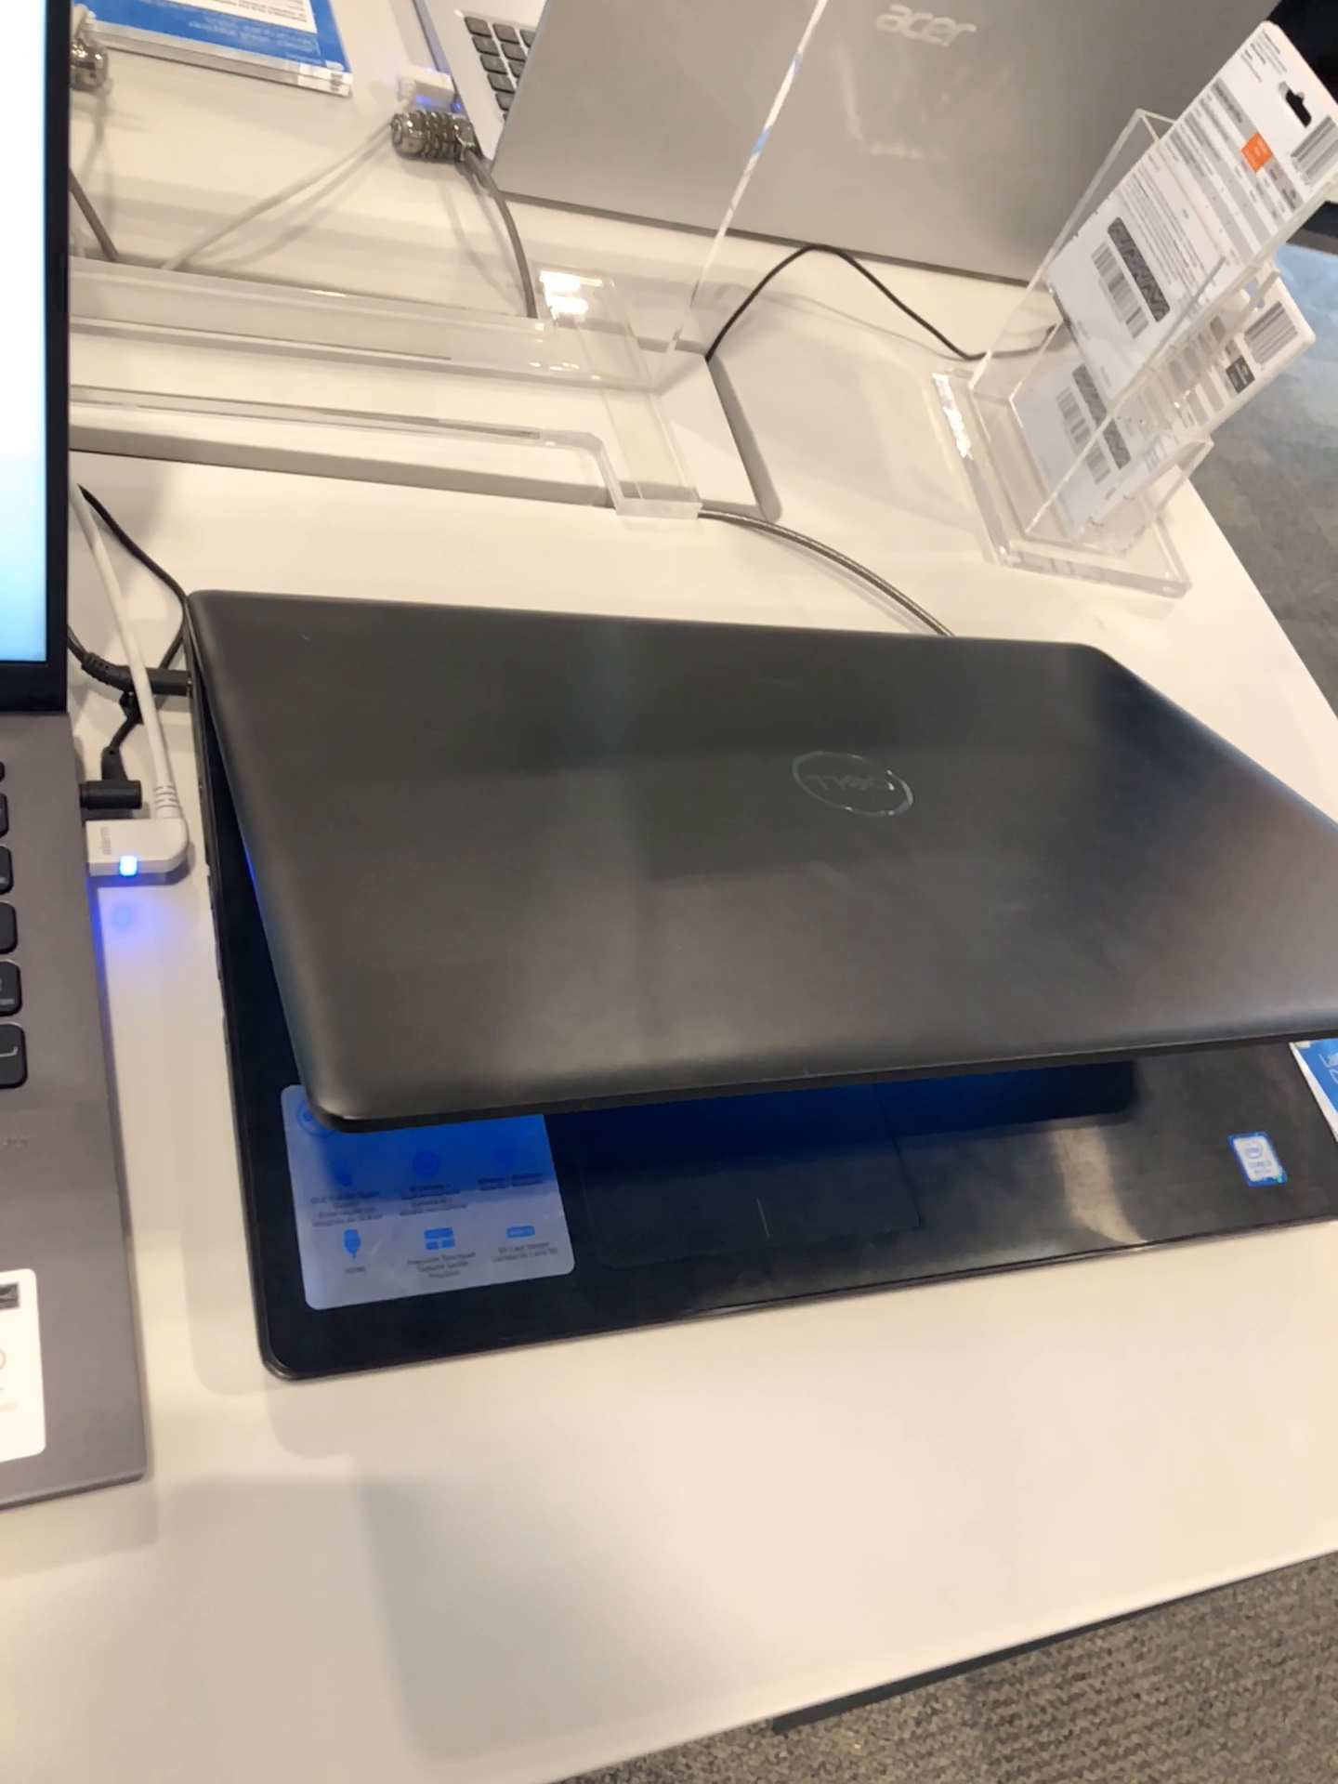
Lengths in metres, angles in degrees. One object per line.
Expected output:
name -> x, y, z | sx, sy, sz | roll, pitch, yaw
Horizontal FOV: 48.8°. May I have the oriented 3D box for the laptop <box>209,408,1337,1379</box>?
laptop -> 0.059, -0.014, 0.458 | 0.366, 0.080, 0.245 | -1, 56, -26
